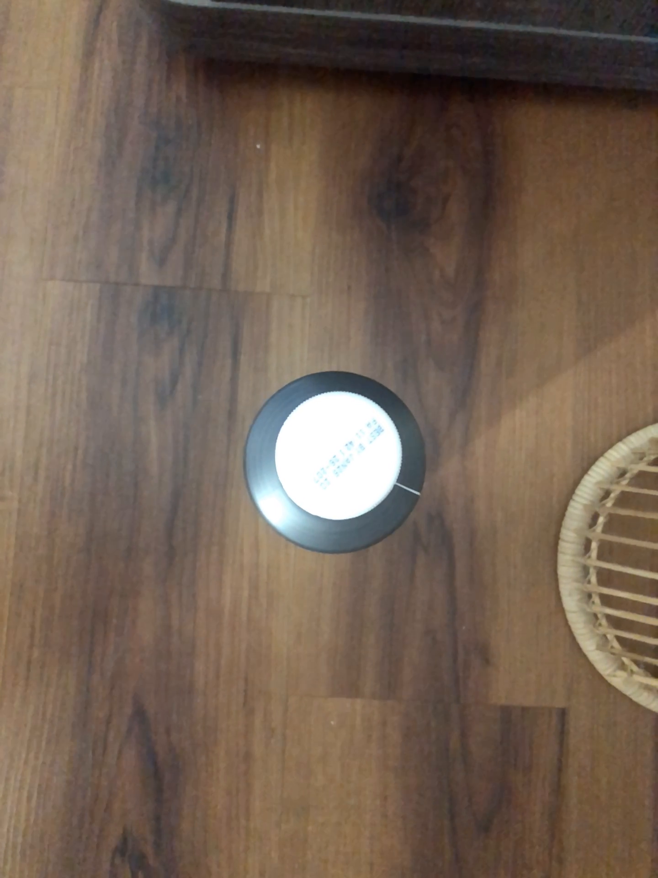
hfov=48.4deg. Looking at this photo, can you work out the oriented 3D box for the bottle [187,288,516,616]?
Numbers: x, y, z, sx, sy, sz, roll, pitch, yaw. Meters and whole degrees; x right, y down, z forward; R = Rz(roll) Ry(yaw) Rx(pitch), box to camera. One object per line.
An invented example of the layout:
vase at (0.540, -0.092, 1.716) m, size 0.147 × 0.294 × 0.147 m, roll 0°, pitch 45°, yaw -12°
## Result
bottle at (0.005, 0.012, 0.311) m, size 0.070 × 0.185 × 0.070 m, roll 0°, pitch 84°, yaw -2°
